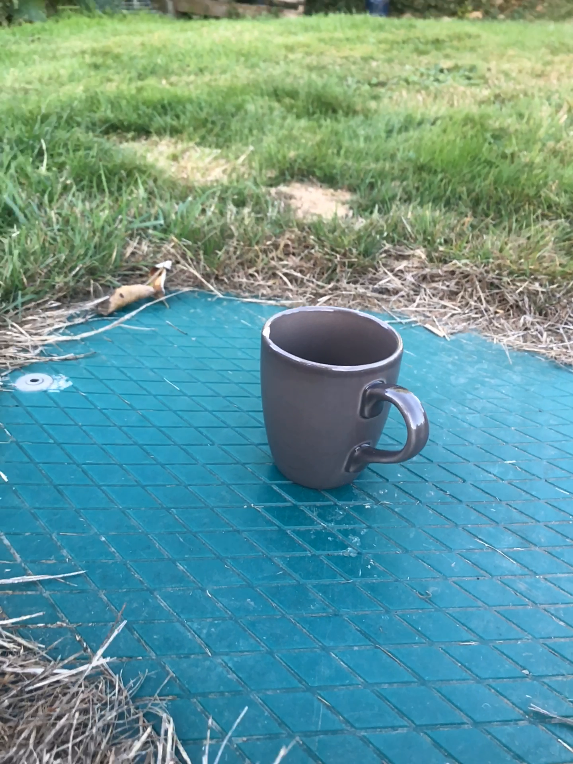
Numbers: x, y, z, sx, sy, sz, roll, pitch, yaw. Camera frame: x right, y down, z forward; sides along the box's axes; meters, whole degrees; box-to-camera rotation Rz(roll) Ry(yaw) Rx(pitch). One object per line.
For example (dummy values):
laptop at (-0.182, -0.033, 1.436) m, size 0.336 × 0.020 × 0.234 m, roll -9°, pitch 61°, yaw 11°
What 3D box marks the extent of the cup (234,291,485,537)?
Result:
cup at (0.037, 0.011, 0.399) m, size 0.091 × 0.086 × 0.126 m, roll -16°, pitch 34°, yaw -30°
